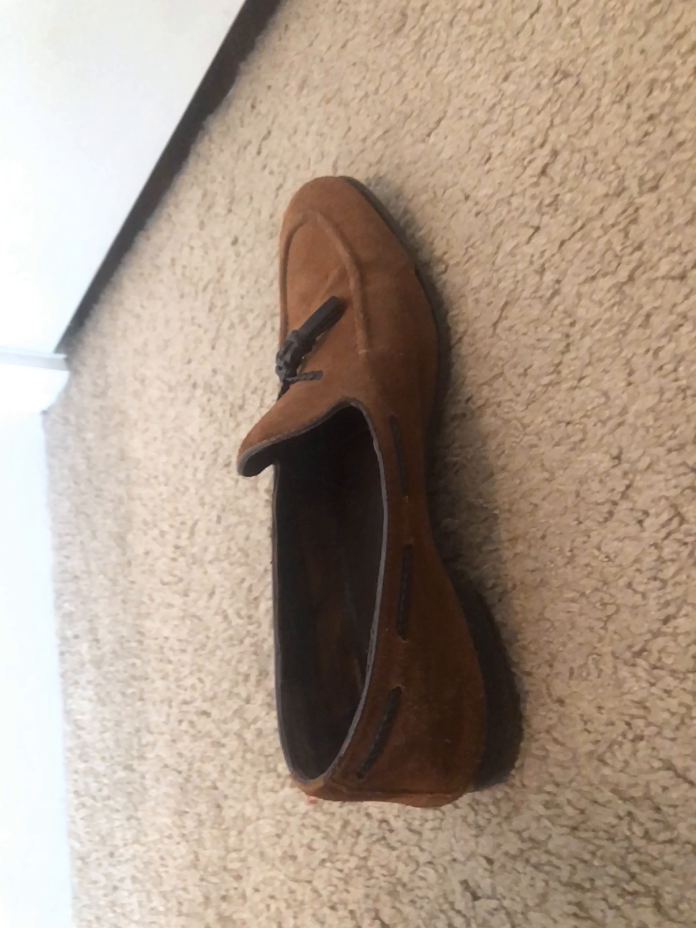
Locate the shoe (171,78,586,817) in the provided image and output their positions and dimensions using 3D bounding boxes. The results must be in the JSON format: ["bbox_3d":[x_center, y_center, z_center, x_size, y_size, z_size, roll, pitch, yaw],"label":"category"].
[{"bbox_3d":[0.000,-0.010,0.346,0.091,0.099,0.292,-33,61,49],"label":"shoe"}]
